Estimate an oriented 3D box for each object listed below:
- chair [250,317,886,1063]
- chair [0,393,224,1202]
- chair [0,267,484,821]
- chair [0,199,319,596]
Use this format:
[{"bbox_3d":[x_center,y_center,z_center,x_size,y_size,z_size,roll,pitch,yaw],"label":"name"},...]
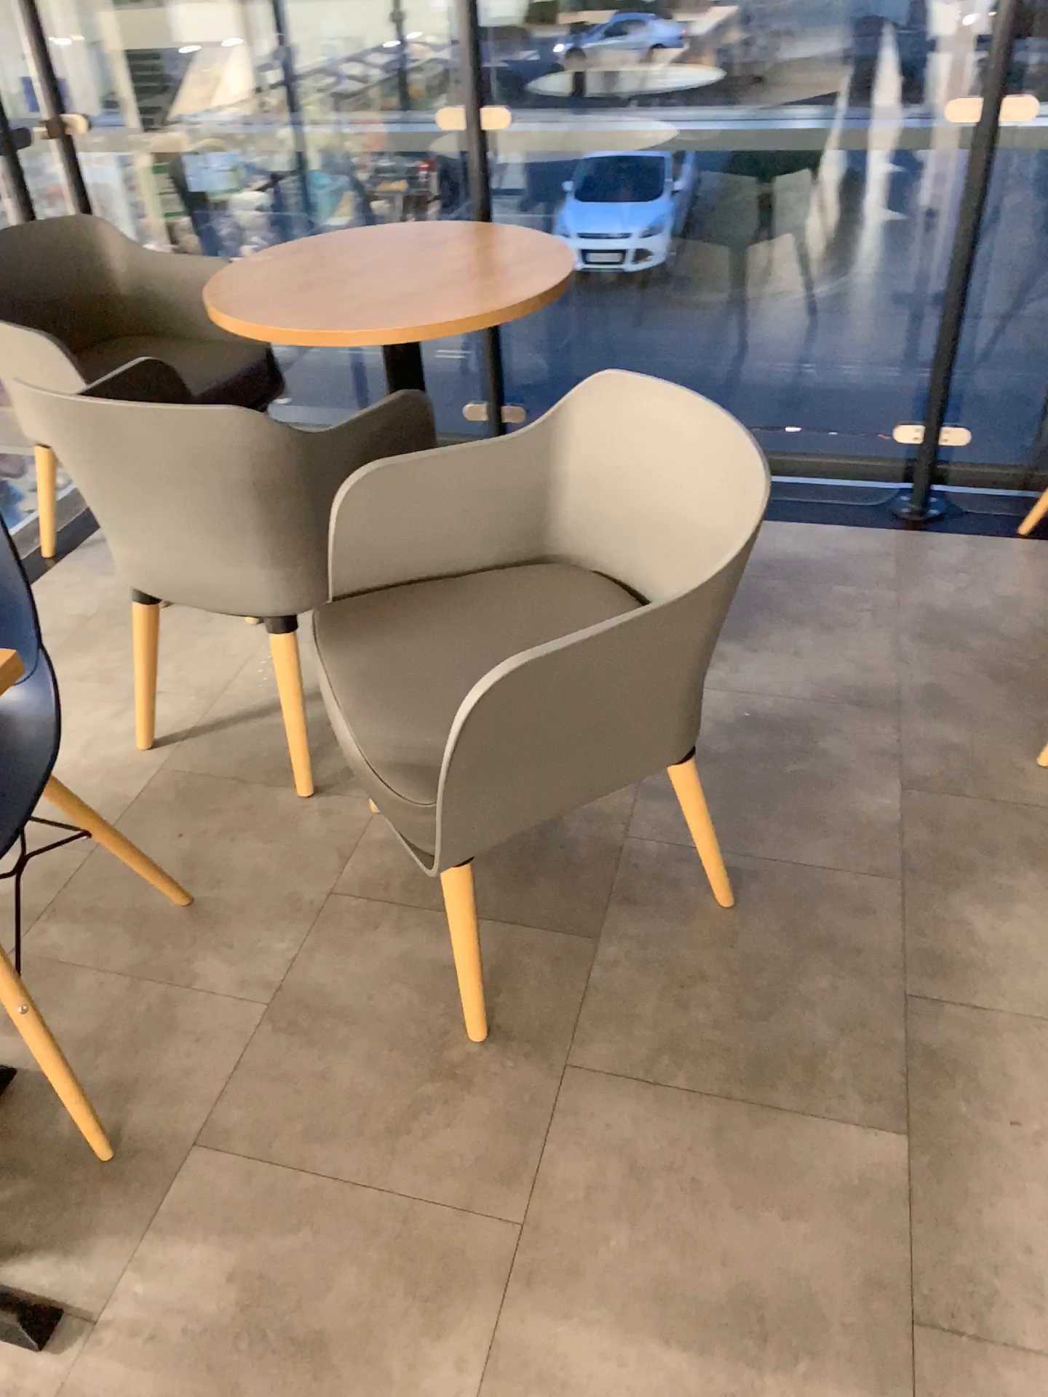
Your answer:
[{"bbox_3d":[0.034,-0.039,1.490,0.580,0.734,0.548,-16,38,-18],"label":"chair"},{"bbox_3d":[-0.726,0.125,1.280,0.473,0.784,0.515,-4,36,-1],"label":"chair"},{"bbox_3d":[-0.450,-0.292,1.887,0.514,0.724,0.544,13,40,22],"label":"chair"},{"bbox_3d":[-0.911,-0.711,2.484,0.580,0.724,0.488,10,38,18],"label":"chair"}]
